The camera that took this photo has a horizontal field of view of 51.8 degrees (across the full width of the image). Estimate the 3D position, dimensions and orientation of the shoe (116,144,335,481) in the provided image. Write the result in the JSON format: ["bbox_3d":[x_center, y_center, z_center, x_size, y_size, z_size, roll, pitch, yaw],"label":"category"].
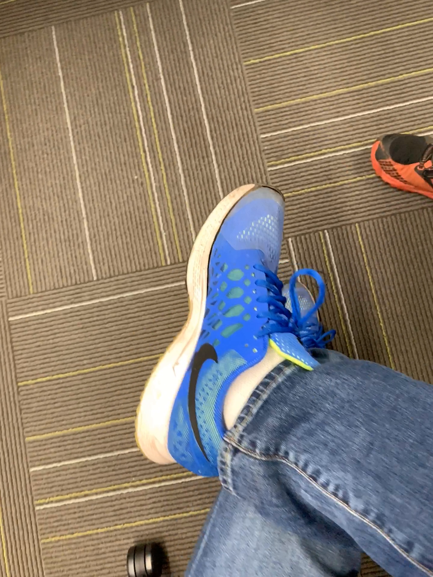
[{"bbox_3d":[0.018,0.018,0.429,0.103,0.117,0.275,11,83,30],"label":"shoe"}]

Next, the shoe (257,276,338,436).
[{"bbox_3d":[0.152,0.128,0.874,0.101,0.087,0.283,-9,82,3],"label":"shoe"}]
